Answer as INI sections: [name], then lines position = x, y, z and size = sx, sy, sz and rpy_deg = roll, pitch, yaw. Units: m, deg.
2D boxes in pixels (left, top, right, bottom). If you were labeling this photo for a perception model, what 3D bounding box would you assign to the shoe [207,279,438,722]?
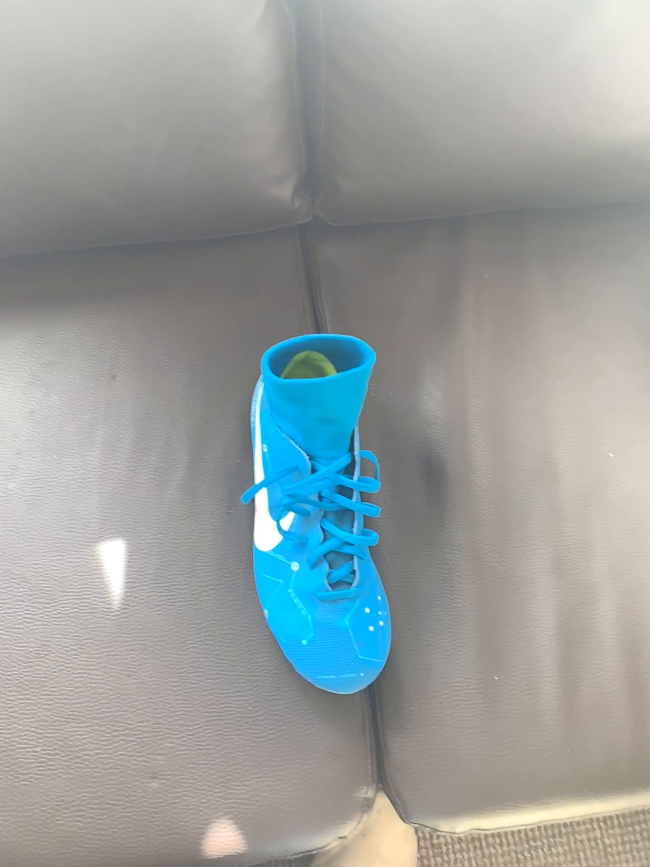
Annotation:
[shoe]
position = -0.009, 0.043, 0.437
size = 0.098, 0.120, 0.251
rpy_deg = -7, 70, -4
